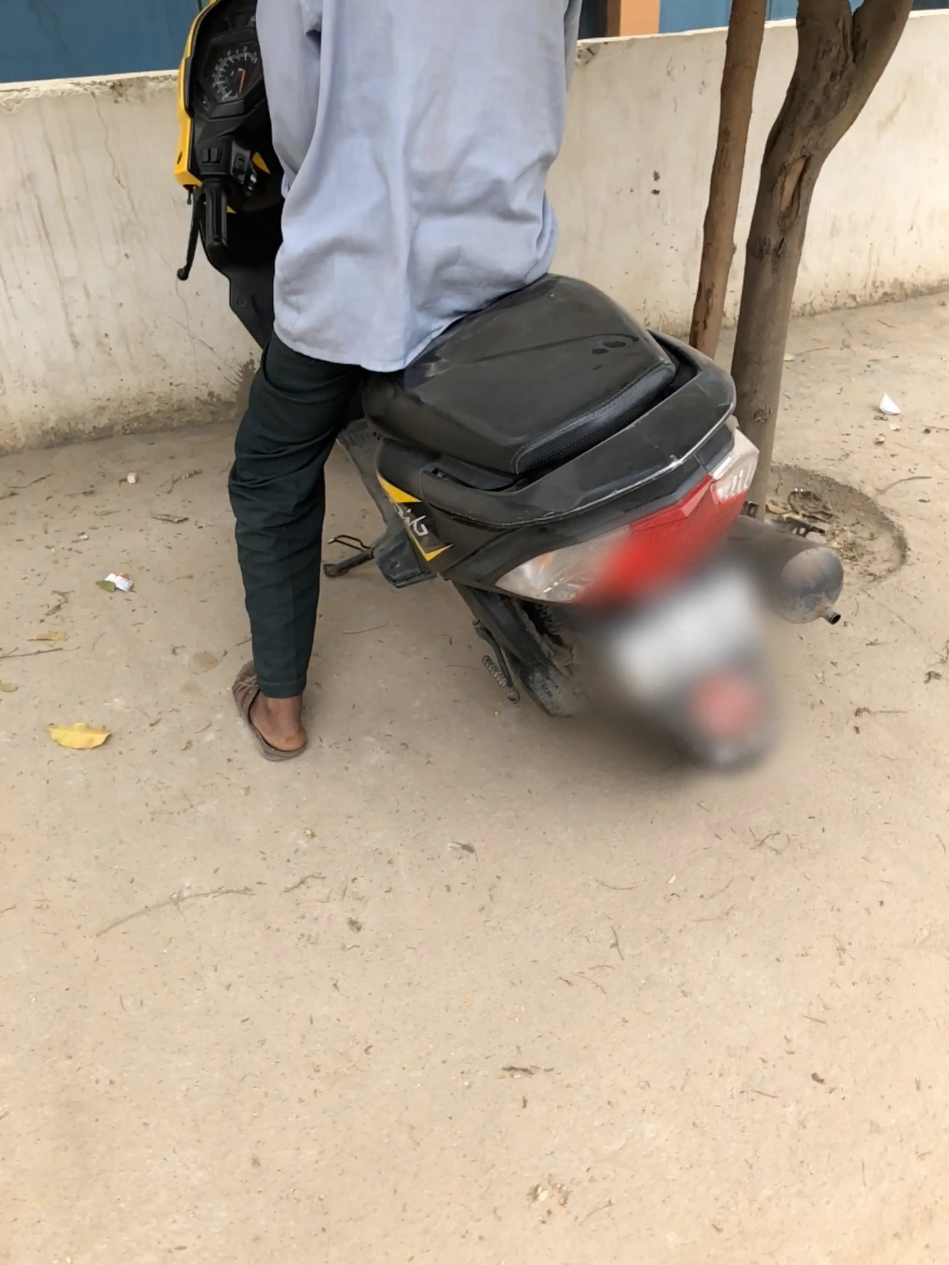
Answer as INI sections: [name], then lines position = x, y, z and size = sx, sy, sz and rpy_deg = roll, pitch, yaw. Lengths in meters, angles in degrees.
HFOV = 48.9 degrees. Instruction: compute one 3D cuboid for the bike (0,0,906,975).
[bike]
position = -0.247, -0.534, 1.721
size = 0.636, 1.145, 1.575
rpy_deg = -20, 40, -24
